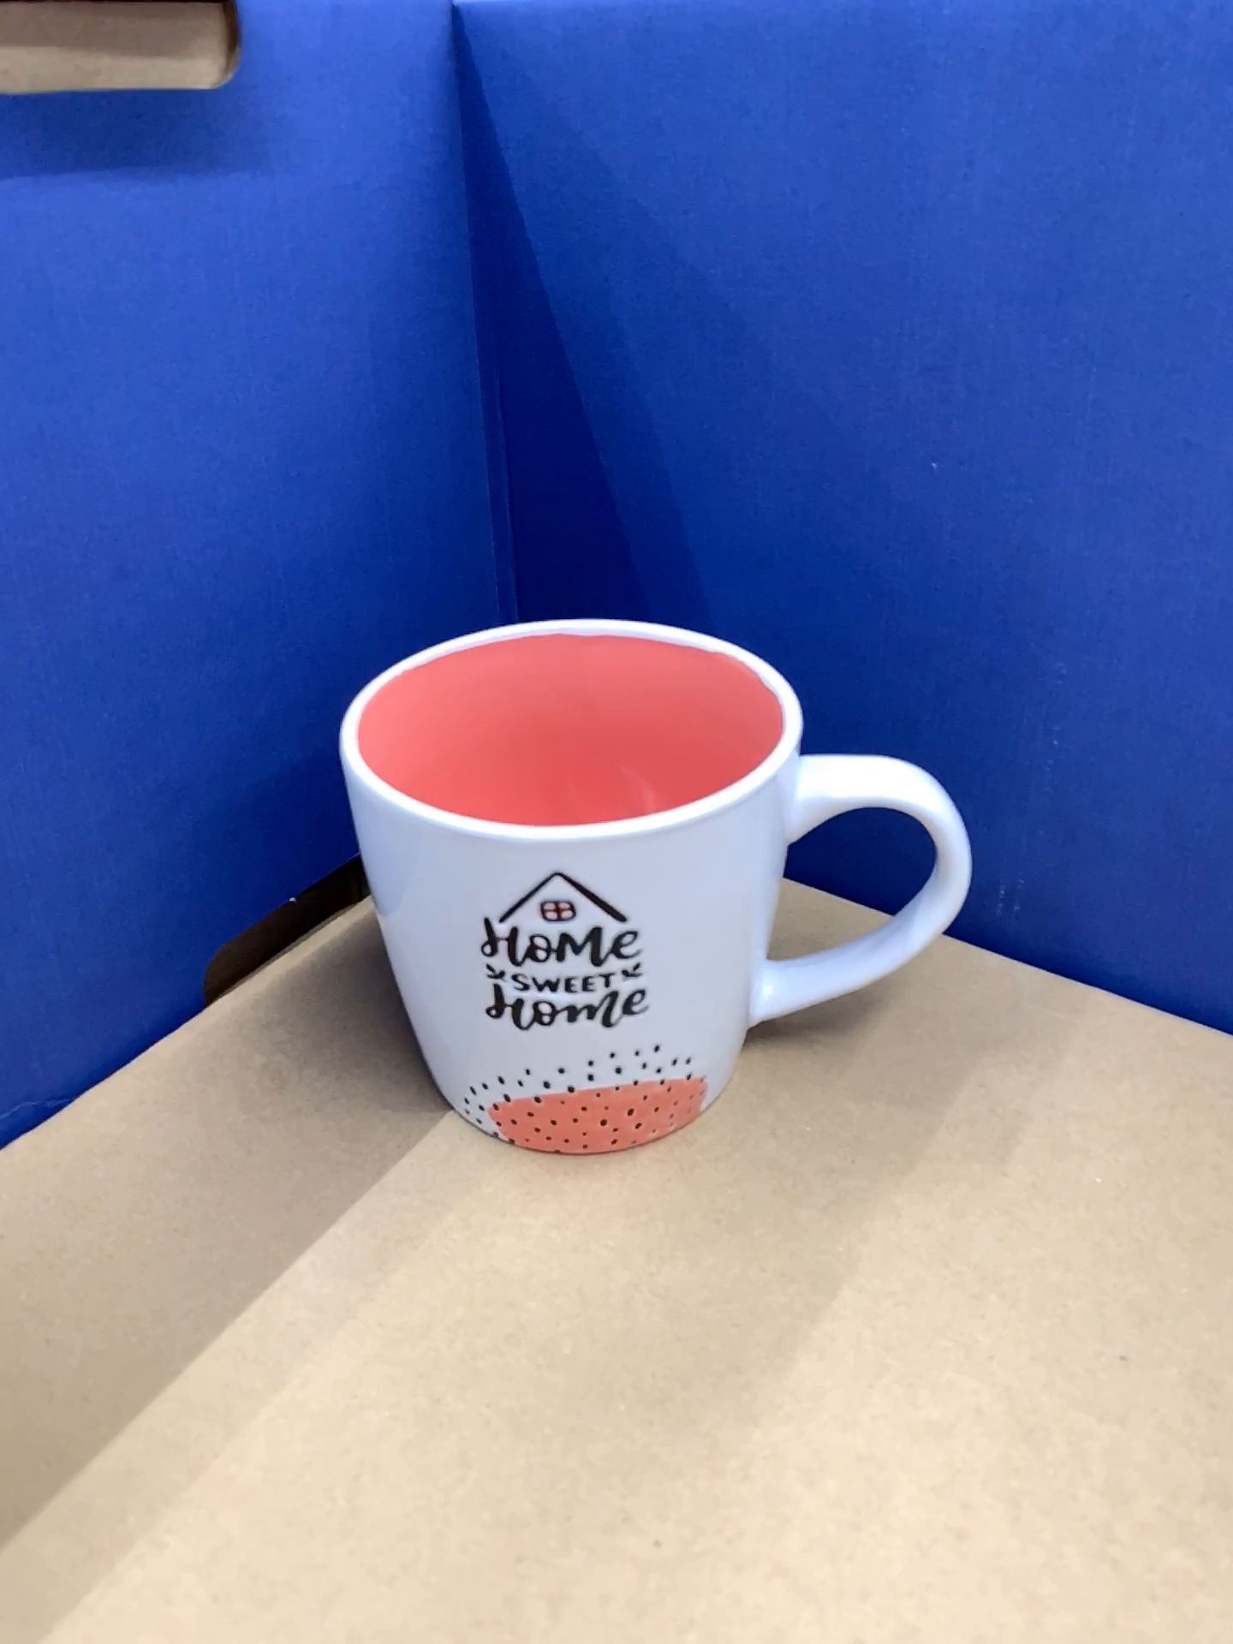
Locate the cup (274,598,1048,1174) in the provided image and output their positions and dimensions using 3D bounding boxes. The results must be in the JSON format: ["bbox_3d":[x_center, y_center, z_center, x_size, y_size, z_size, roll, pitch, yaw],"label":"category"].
[{"bbox_3d":[0.006,0.008,0.241,0.115,0.070,0.083,-3,30,-2],"label":"cup"}]
